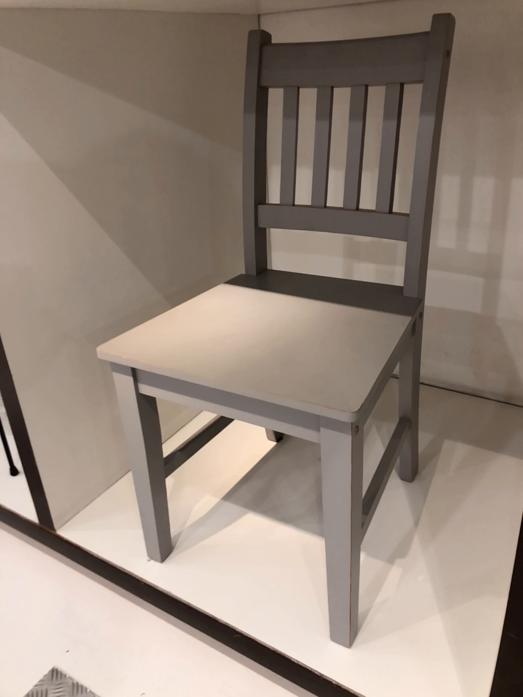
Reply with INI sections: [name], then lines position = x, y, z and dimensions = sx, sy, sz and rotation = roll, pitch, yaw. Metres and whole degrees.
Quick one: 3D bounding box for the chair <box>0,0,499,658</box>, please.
[chair]
position = 0.060, -0.092, 0.990
dimensions = 0.461, 0.863, 0.584
rotation = 11, 31, 28
